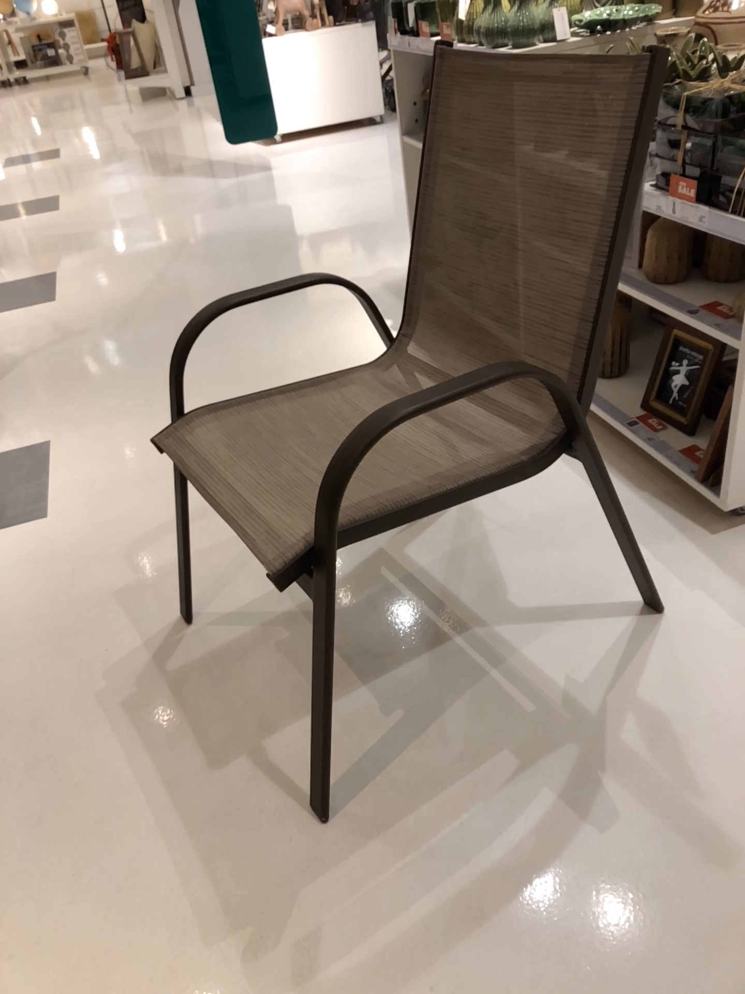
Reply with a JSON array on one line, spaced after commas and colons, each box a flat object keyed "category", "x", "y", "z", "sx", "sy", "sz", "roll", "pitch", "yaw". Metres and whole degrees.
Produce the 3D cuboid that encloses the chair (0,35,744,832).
[{"category": "chair", "x": 0.004, "y": -0.160, "z": 1.192, "sx": 0.701, "sy": 0.793, "sz": 0.604, "roll": -25, "pitch": 37, "yaw": -22}]
